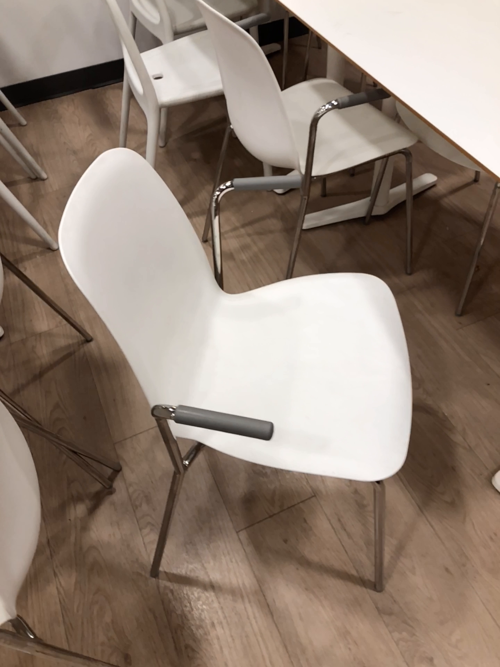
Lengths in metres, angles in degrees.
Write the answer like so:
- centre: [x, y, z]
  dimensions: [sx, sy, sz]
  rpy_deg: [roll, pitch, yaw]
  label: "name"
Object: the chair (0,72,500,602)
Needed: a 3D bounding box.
- centre: [0.035, 0.050, 1.025]
  dimensions: [0.530, 0.805, 0.573]
  rpy_deg: [3, 50, 8]
  label: "chair"
